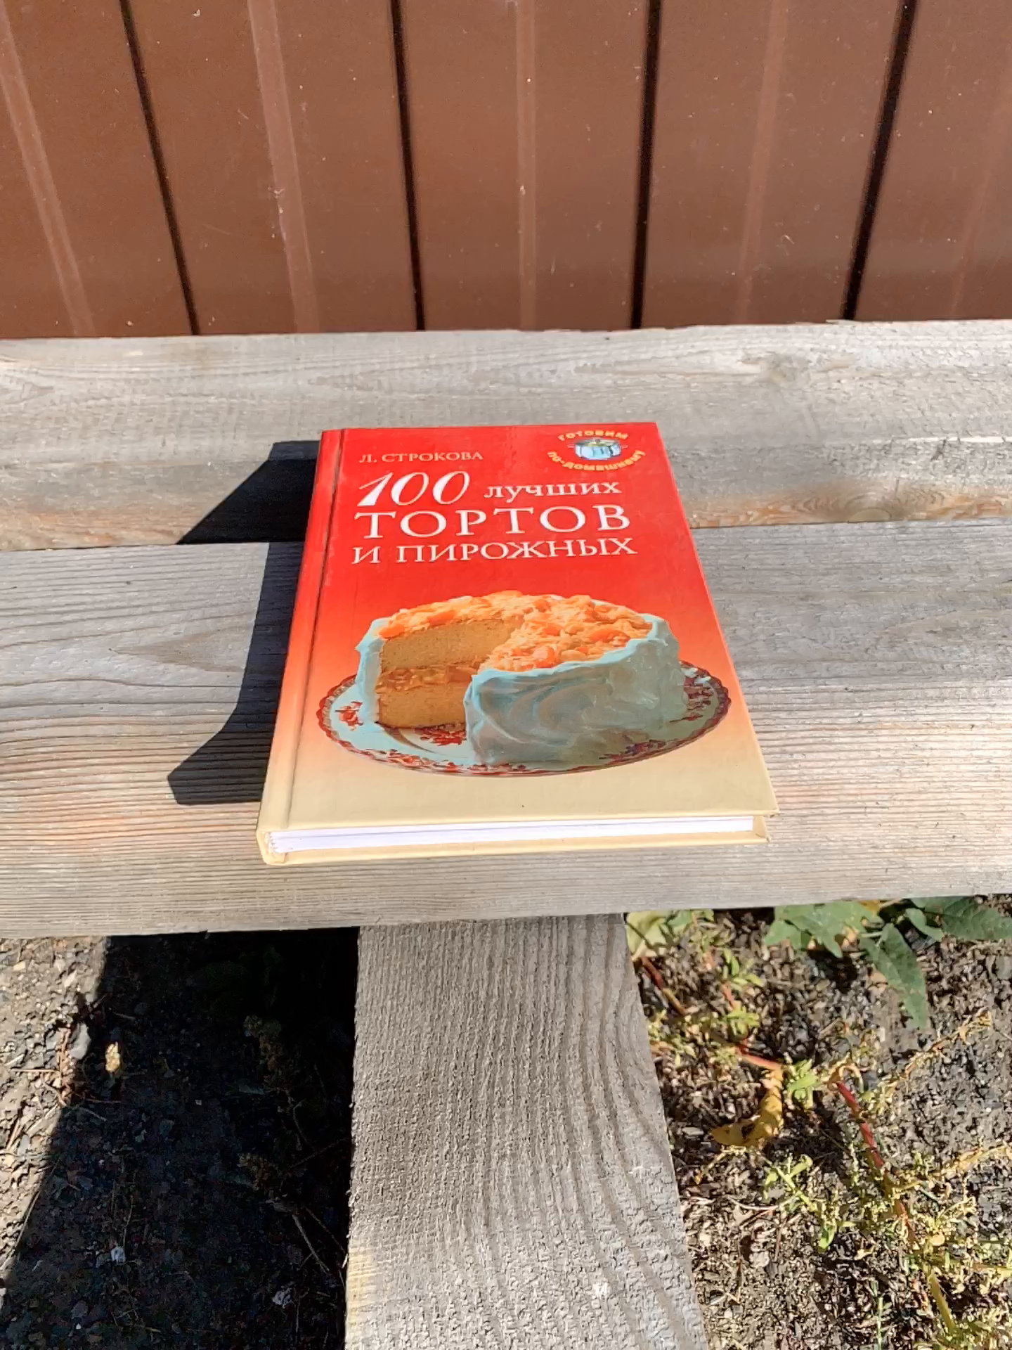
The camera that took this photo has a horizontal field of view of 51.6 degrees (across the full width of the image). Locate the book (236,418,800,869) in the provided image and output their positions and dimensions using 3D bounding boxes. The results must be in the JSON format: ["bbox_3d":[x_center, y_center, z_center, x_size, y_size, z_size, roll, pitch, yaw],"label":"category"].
[{"bbox_3d":[-0.001,-0.028,0.354,0.143,0.017,0.219,-2,40,-2],"label":"book"}]
